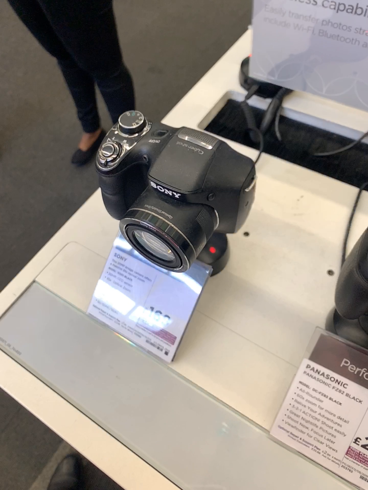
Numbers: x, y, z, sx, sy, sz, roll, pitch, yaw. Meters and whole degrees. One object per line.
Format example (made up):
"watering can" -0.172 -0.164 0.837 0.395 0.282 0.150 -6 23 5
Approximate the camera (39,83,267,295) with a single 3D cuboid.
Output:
"camera" -0.019 -0.045 0.301 0.130 0.089 0.090 27 63 21
